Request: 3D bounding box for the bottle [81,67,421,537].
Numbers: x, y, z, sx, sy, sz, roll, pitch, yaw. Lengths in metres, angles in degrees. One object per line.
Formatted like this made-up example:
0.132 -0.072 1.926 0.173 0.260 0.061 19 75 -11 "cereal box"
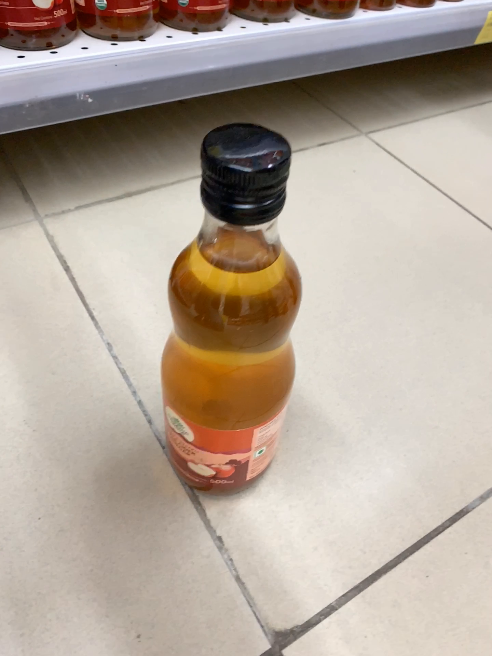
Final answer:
-0.005 0.006 0.247 0.080 0.209 0.080 3 48 -3 "bottle"
